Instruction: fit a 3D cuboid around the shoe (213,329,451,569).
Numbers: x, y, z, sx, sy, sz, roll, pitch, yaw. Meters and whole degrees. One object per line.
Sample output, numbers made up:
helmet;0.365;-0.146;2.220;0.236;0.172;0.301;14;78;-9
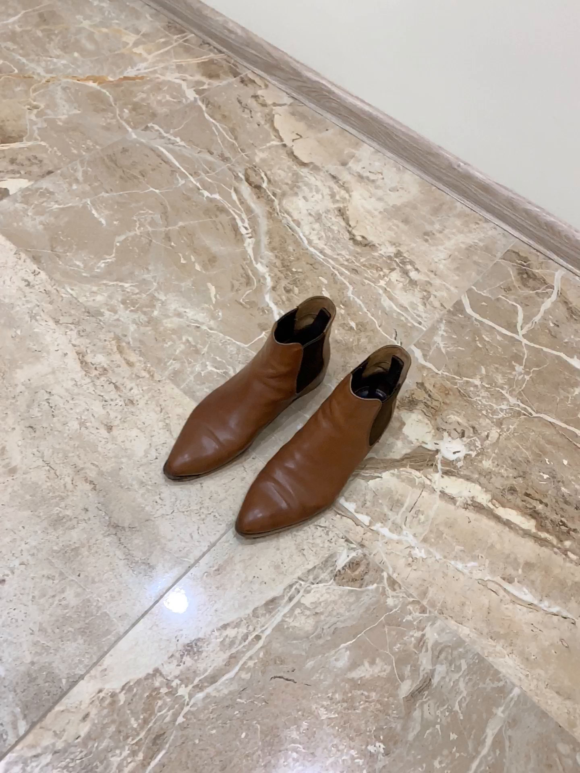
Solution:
shoe;0.043;0.064;0.646;0.250;0.120;0.090;-36;69;-25

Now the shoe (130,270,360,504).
shoe;-0.047;-0.003;0.684;0.090;0.130;0.250;41;62;17
